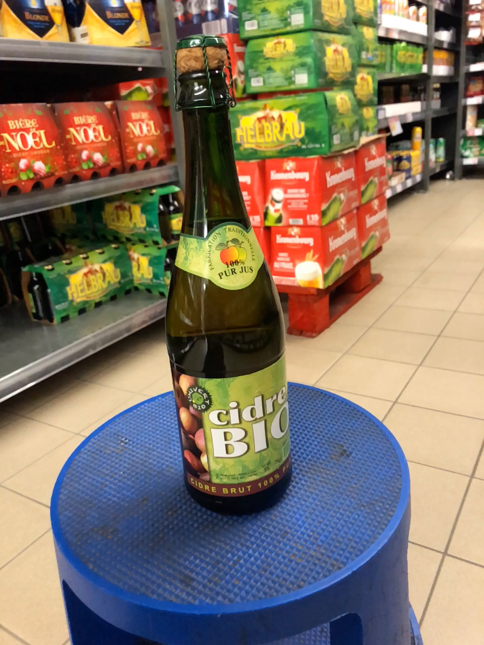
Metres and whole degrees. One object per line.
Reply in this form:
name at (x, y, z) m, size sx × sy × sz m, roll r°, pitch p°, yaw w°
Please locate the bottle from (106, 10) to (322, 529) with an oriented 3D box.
bottle at (-0.011, -0.023, 0.341) m, size 0.090 × 0.289 × 0.090 m, roll -5°, pitch 20°, yaw 2°
